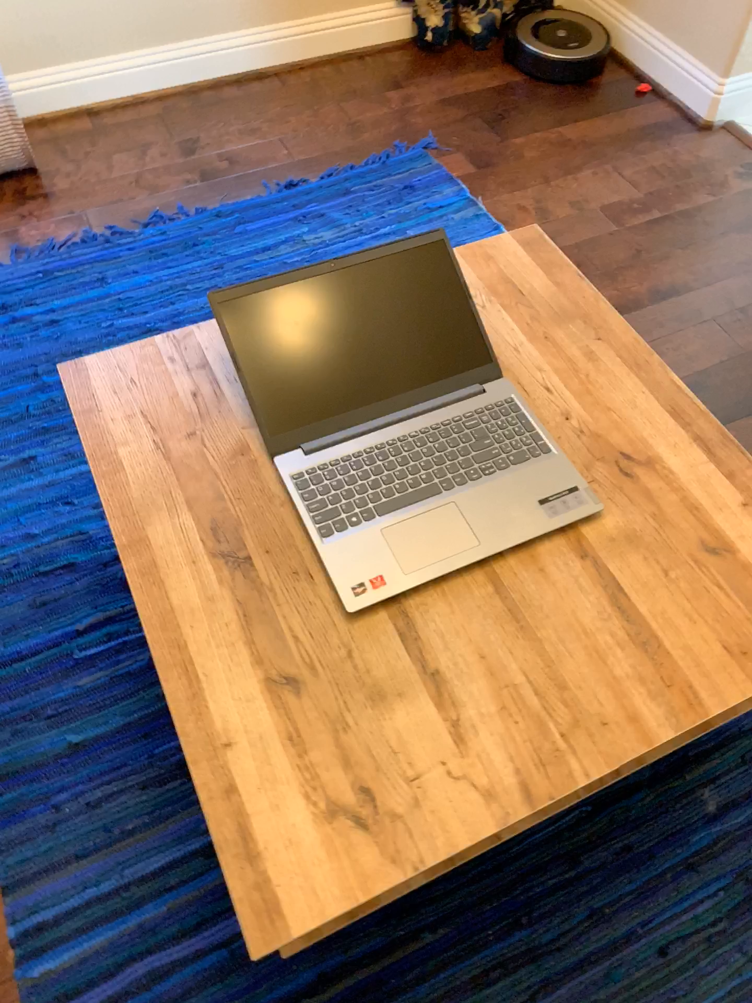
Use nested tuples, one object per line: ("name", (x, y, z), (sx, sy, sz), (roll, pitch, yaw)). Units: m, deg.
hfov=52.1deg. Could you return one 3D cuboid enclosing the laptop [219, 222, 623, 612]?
("laptop", (0.039, -0.138, 1.009), (0.346, 0.099, 0.462), (-20, 61, -14))
